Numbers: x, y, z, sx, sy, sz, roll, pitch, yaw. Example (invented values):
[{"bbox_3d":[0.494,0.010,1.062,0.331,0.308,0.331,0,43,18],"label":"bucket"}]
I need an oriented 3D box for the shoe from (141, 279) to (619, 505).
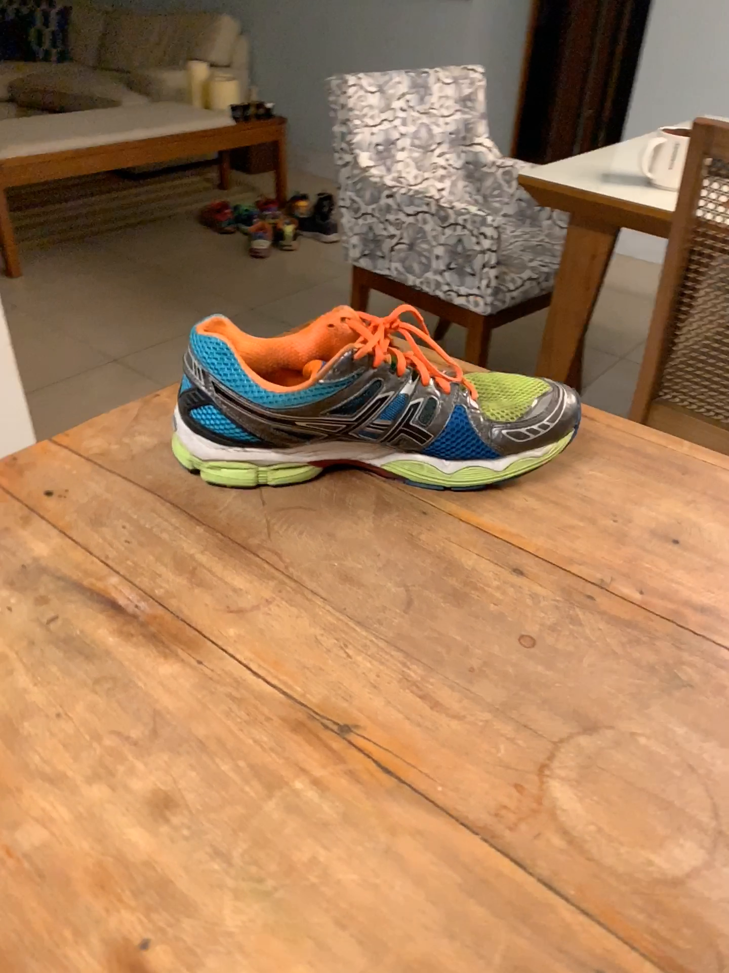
[{"bbox_3d":[0.006,-0.075,0.545,0.301,0.109,0.126,-2,36,-7],"label":"shoe"}]
